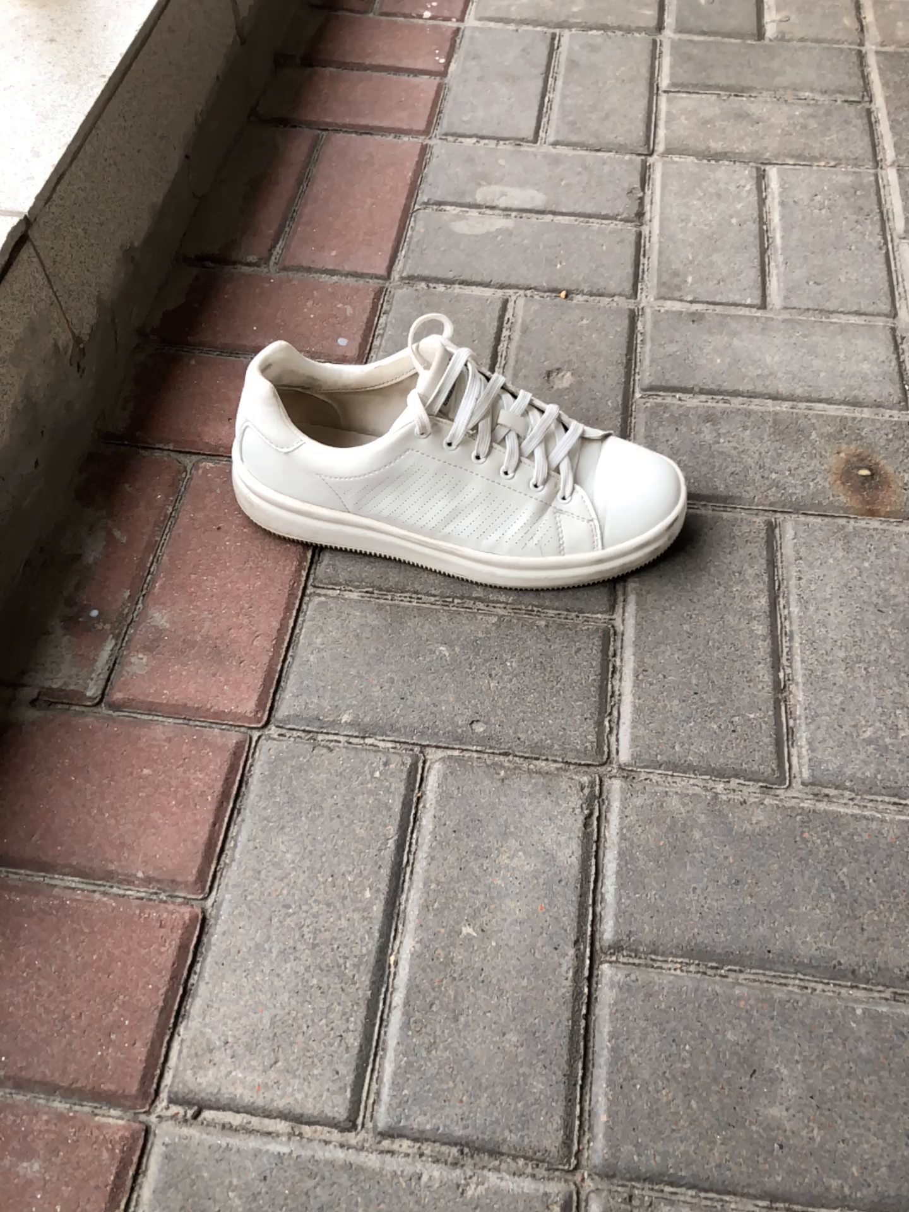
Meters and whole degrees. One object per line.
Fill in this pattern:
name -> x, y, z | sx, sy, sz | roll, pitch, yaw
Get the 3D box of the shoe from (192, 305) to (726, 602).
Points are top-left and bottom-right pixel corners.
shoe -> 0.008, -0.095, 0.619 | 0.292, 0.119, 0.111 | 5, 53, 6
